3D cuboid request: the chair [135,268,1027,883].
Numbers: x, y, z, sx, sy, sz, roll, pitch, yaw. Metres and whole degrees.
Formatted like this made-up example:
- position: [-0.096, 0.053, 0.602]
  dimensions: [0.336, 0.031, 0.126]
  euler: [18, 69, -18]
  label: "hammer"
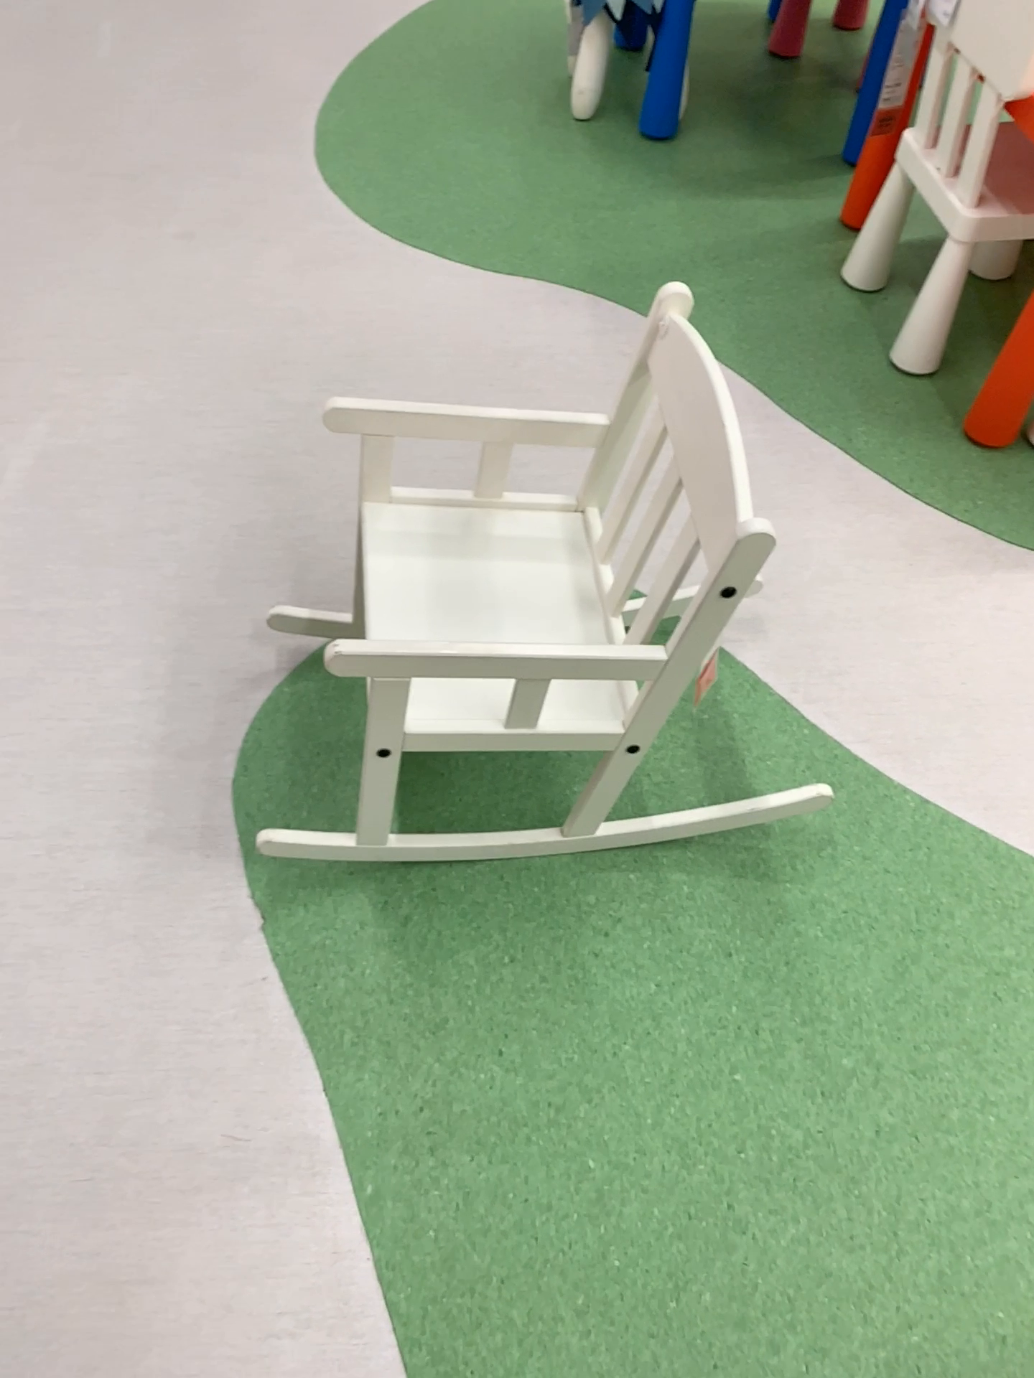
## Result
- position: [0.039, -0.113, 1.179]
  dimensions: [0.730, 0.498, 0.411]
  euler: [-4, 53, -4]
  label: "chair"
